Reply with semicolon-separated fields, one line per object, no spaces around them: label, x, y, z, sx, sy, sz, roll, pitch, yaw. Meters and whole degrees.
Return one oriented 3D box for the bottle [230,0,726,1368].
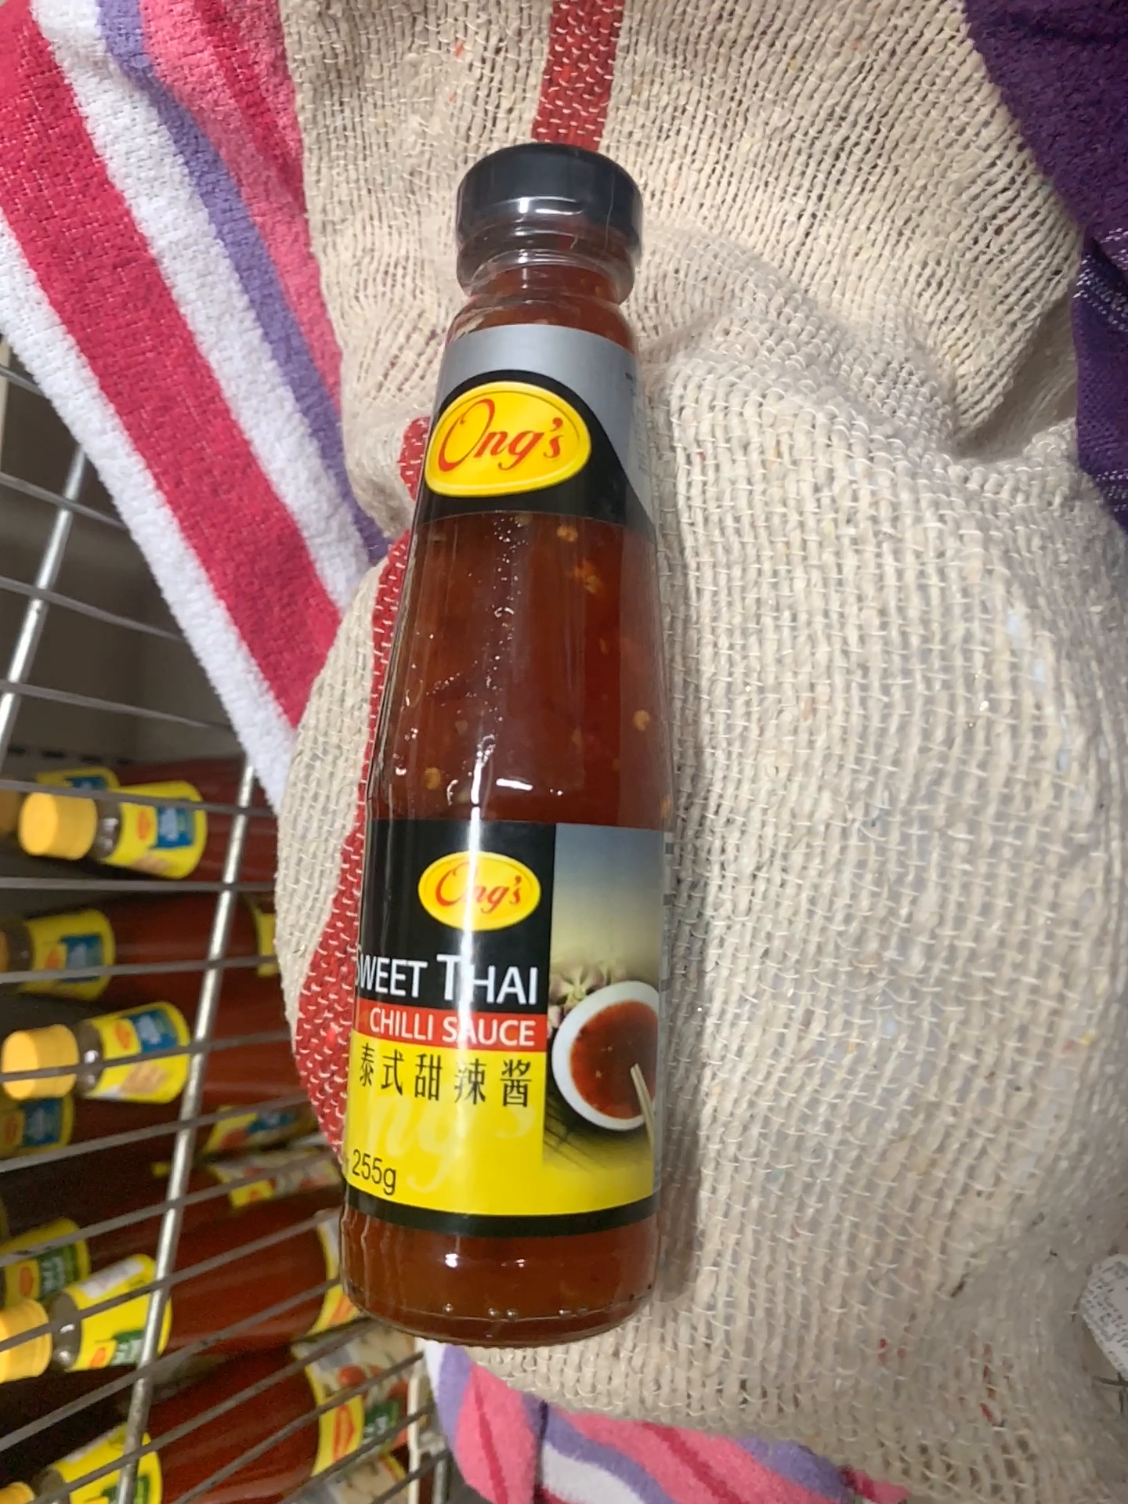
bottle;-0.009;-0.014;0.188;0.060;0.050;0.190;1;86;14
